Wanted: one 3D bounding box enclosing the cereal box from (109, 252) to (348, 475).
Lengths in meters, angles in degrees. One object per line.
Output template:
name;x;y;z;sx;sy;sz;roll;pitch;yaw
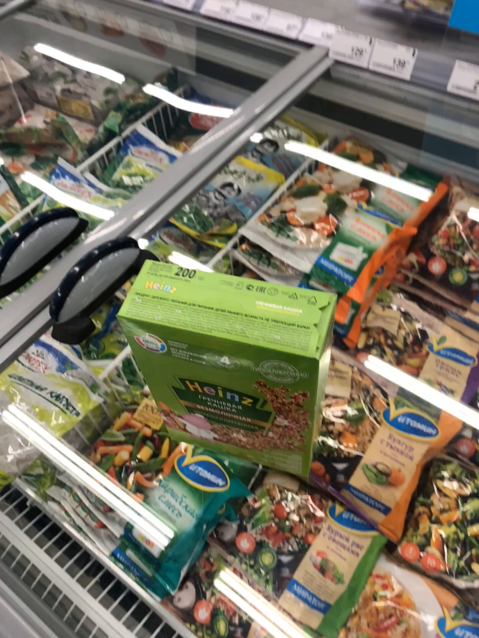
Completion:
cereal box;0.000;0.044;0.404;0.140;0.189;0.050;12;56;14
